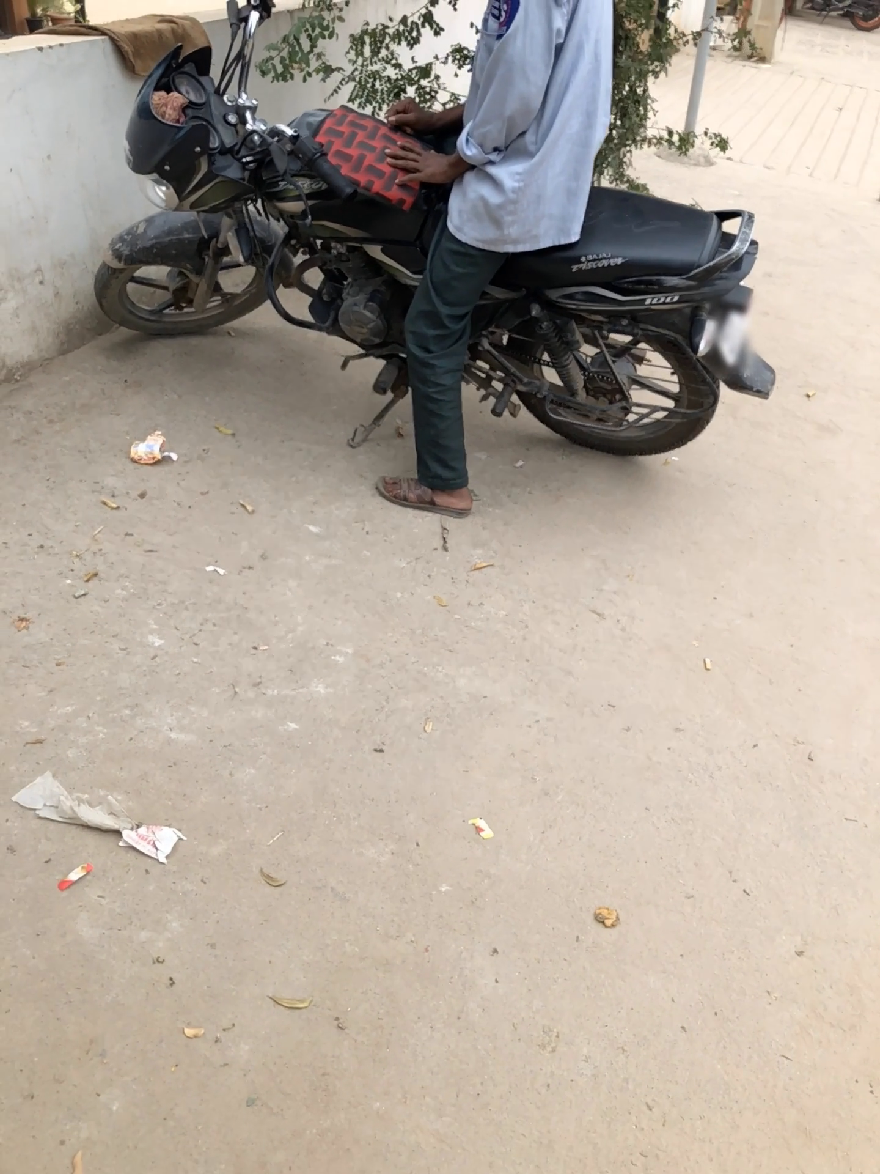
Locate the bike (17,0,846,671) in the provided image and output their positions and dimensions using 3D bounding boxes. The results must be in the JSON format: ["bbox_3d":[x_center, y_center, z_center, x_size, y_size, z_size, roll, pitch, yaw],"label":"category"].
[{"bbox_3d":[-0.020,-0.745,2.371,1.496,1.332,0.791,12,36,11],"label":"bike"}]
